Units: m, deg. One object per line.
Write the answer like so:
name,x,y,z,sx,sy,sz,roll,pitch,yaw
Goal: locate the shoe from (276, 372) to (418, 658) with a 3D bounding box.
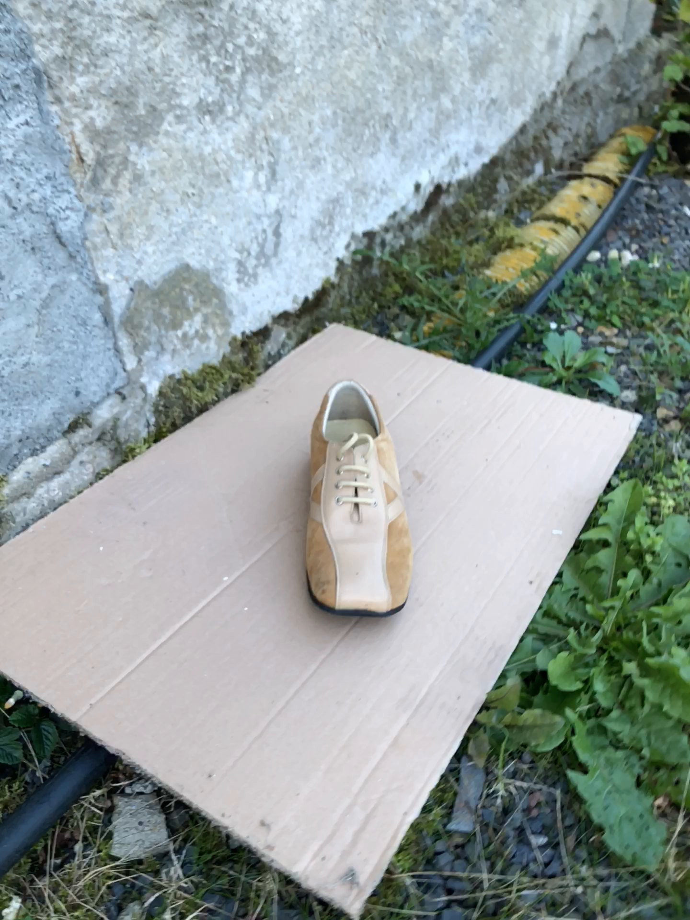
shoe,0.005,0.034,0.671,0.100,0.080,0.272,-3,40,3
